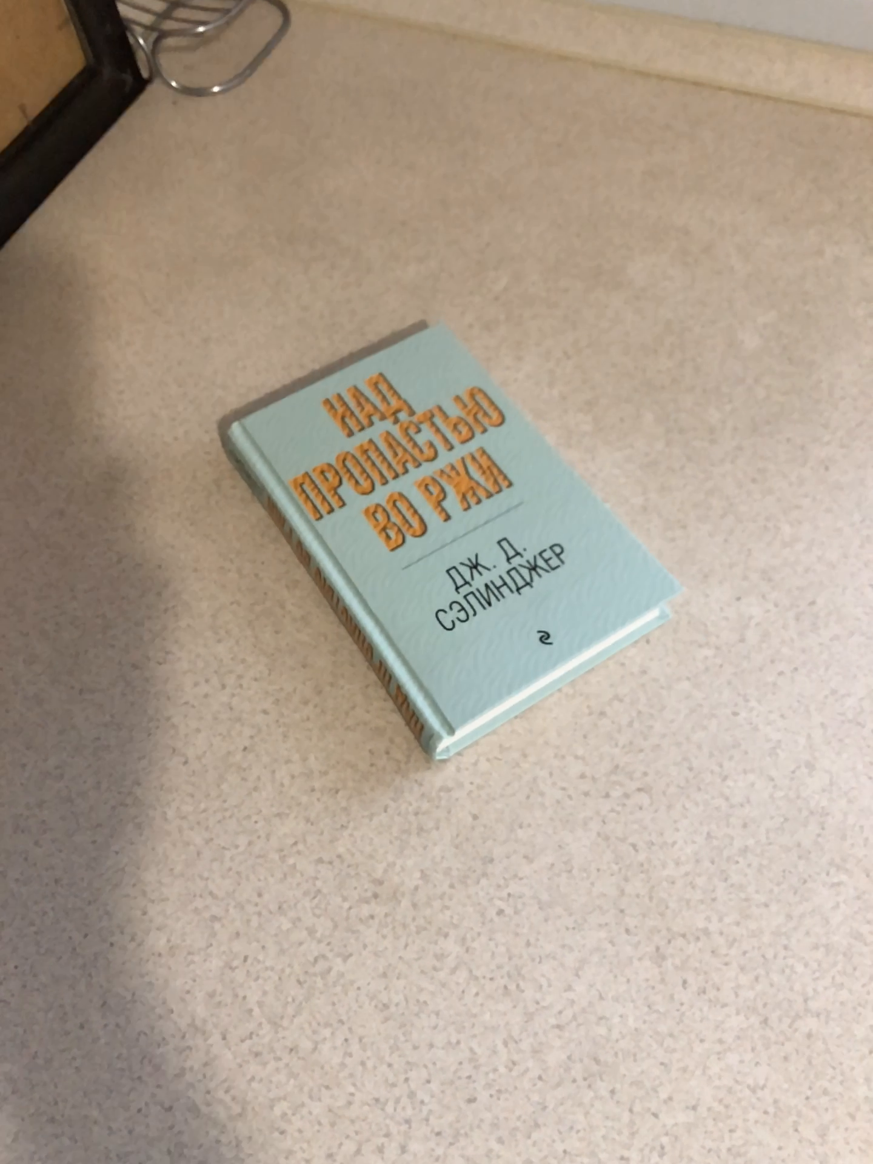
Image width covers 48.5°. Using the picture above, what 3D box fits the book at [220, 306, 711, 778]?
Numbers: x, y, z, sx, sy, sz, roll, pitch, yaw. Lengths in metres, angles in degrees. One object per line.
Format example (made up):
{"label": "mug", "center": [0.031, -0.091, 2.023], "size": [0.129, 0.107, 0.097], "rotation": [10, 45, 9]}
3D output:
{"label": "book", "center": [0.005, -0.027, 0.394], "size": [0.118, 0.020, 0.181], "rotation": [-29, 62, -13]}
